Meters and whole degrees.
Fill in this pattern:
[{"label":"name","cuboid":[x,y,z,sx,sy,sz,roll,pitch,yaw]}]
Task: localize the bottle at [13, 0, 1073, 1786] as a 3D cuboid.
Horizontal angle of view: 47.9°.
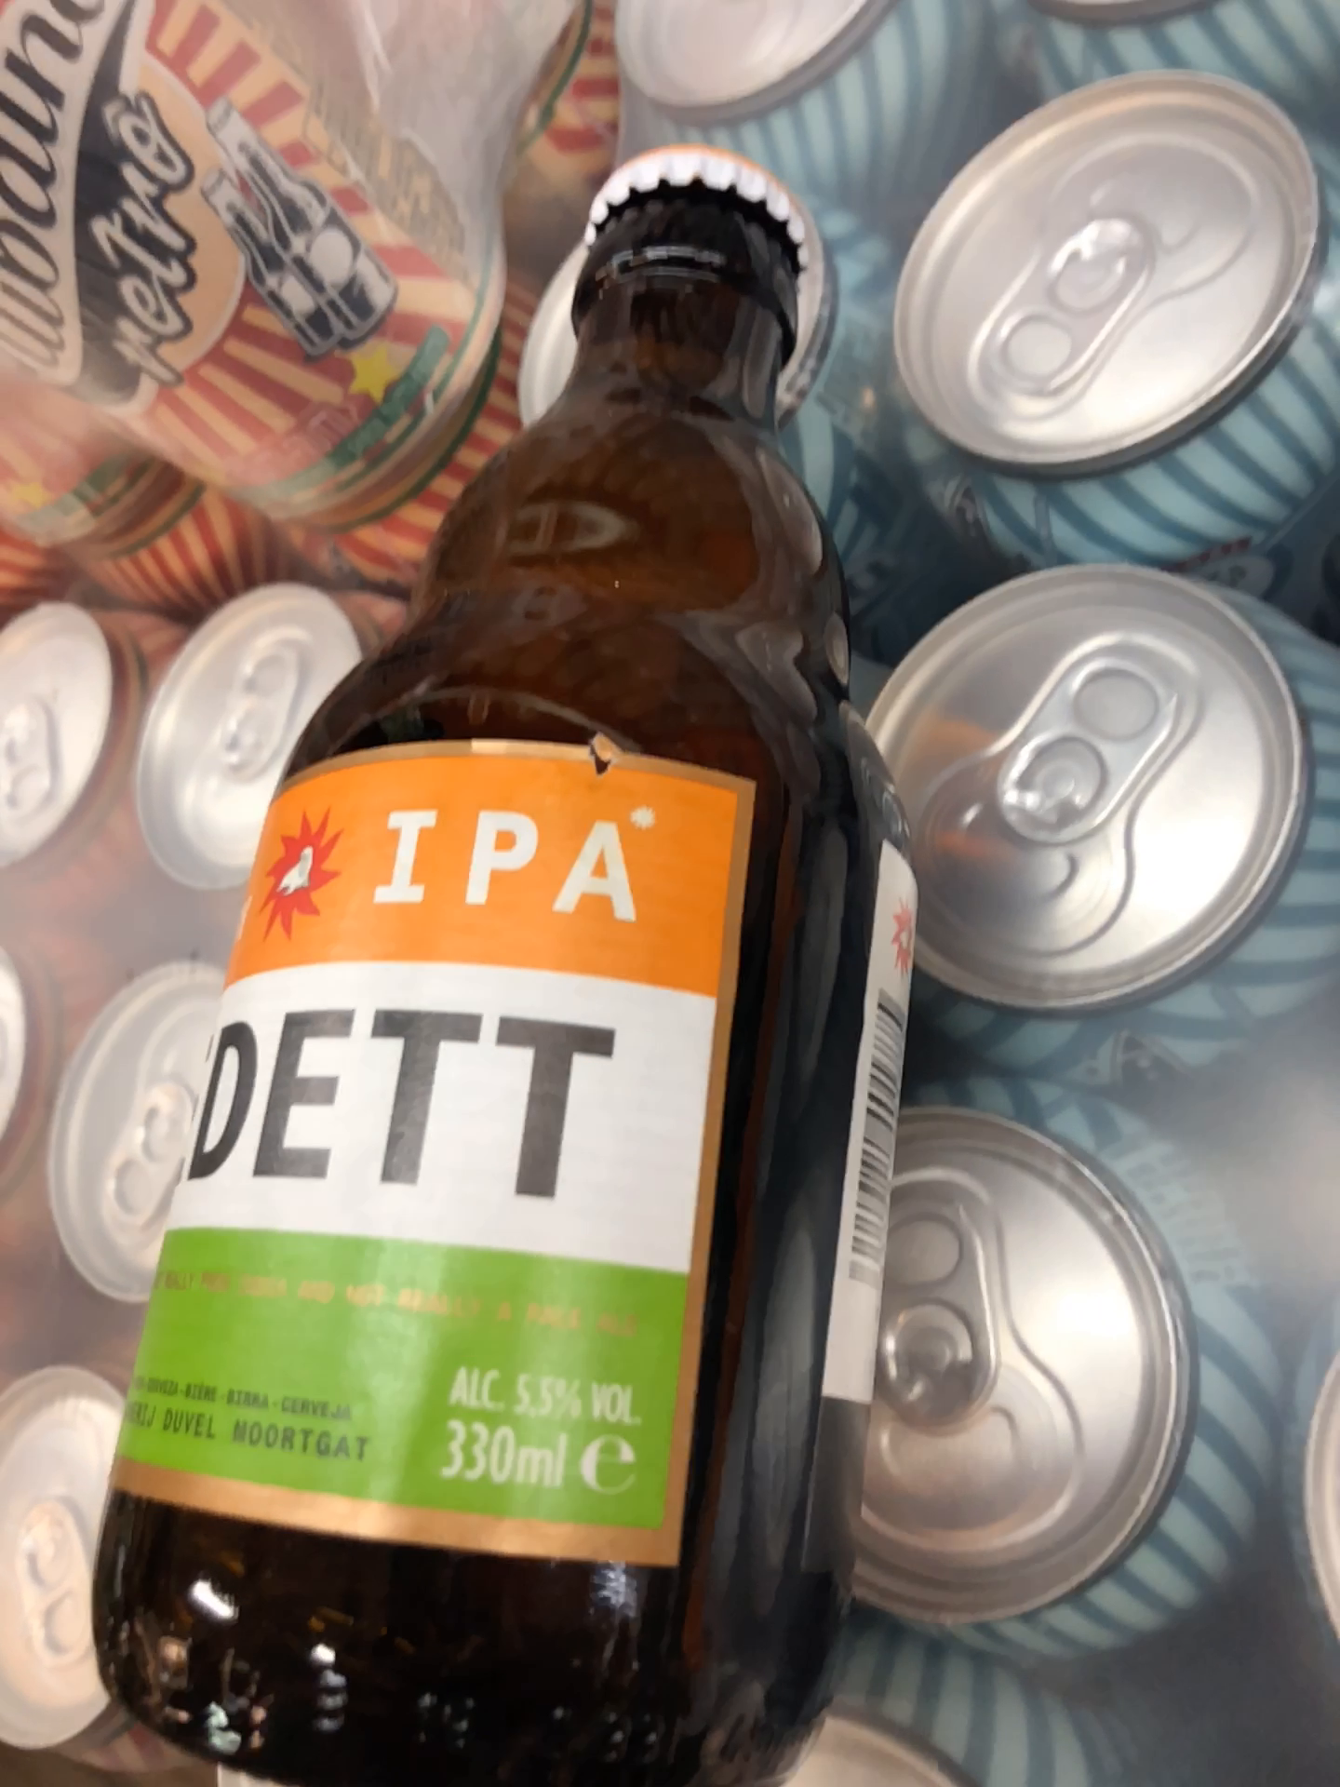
[{"label":"bottle","cuboid":[-0.003,-0.014,0.161,0.070,0.060,0.190,-4,72,33]}]
